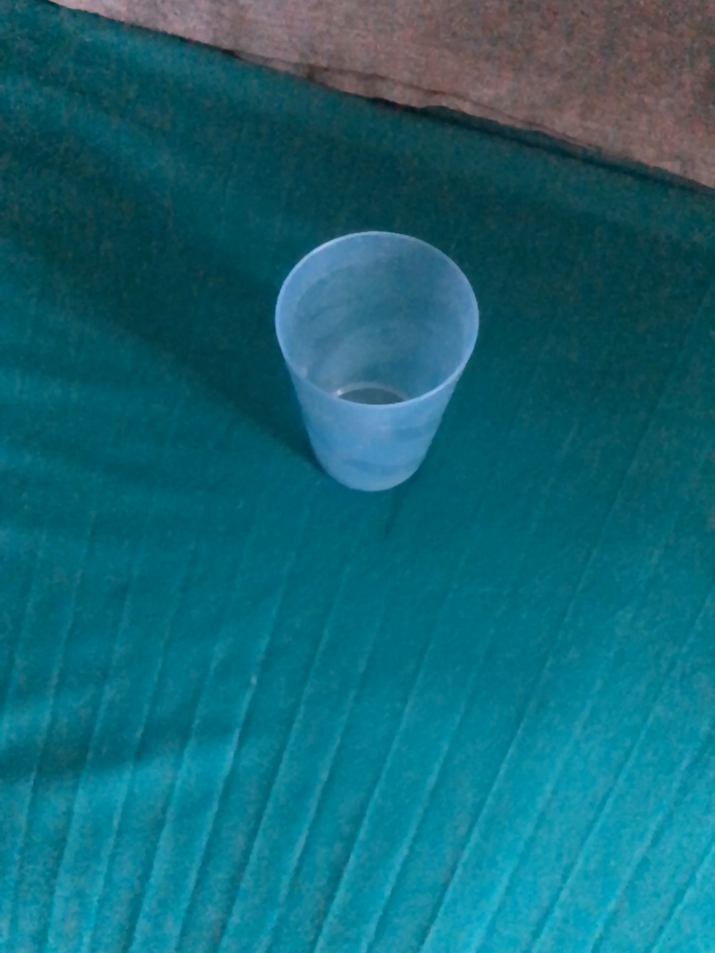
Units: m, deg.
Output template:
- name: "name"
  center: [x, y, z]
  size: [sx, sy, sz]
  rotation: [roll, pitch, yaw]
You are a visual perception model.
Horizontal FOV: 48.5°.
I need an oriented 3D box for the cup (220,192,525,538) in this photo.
- name: "cup"
  center: [0.006, -0.034, 0.310]
  size: [0.078, 0.119, 0.066]
  rotation: [22, 73, 7]
